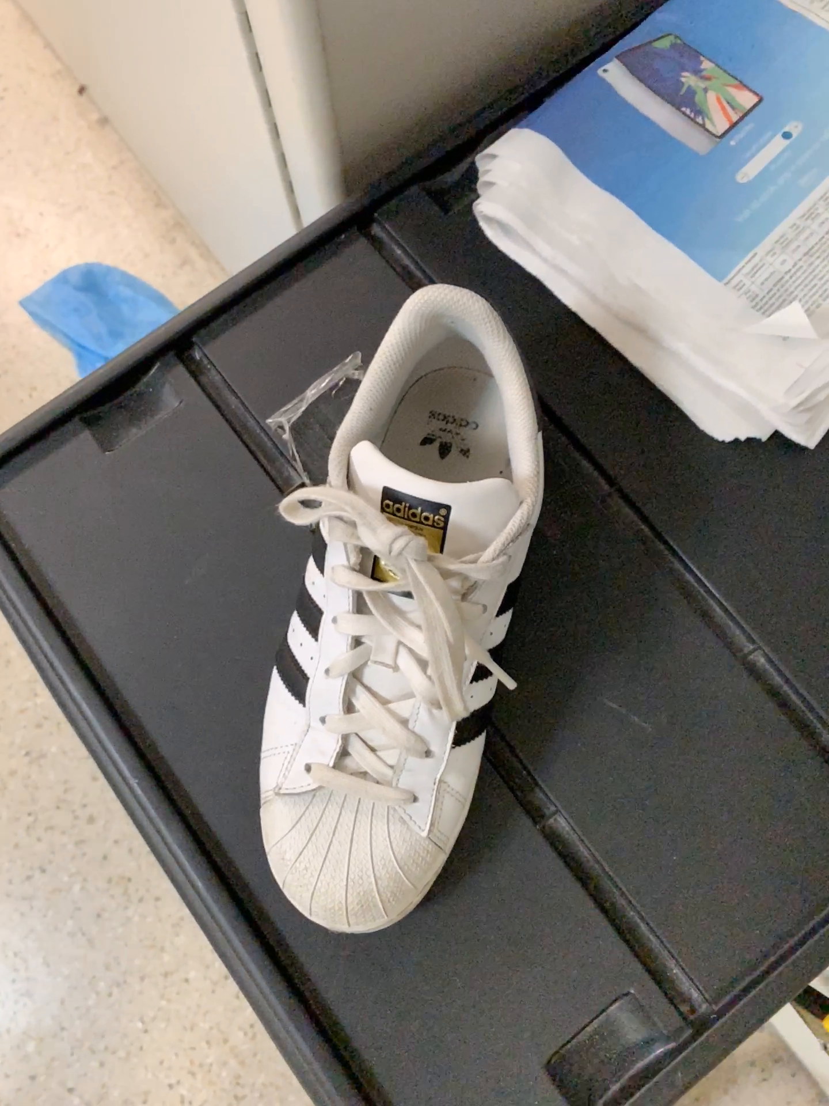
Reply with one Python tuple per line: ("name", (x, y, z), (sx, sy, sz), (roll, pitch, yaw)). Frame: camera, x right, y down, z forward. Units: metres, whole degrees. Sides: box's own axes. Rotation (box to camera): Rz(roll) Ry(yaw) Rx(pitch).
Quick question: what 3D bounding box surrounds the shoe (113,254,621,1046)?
("shoe", (-0.010, 0.029, 0.330), (0.103, 0.092, 0.242), (16, 83, 6))
